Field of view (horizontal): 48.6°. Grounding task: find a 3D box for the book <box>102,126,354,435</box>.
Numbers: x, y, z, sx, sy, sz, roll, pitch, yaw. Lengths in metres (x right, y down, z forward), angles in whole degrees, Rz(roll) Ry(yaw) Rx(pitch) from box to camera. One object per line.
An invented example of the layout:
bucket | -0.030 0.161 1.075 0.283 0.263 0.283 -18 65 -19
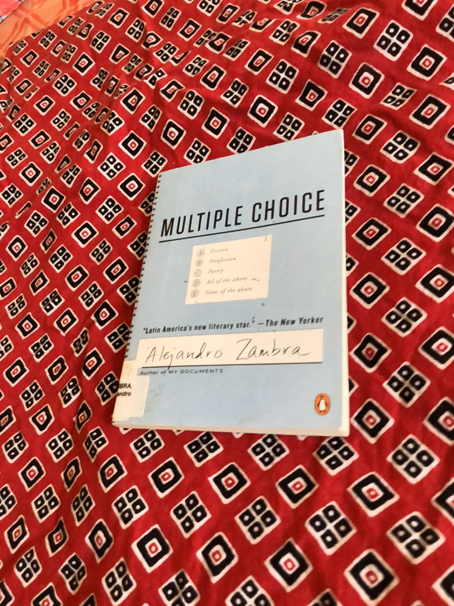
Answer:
book | 0.004 -0.015 0.296 0.134 0.020 0.176 -5 65 23
